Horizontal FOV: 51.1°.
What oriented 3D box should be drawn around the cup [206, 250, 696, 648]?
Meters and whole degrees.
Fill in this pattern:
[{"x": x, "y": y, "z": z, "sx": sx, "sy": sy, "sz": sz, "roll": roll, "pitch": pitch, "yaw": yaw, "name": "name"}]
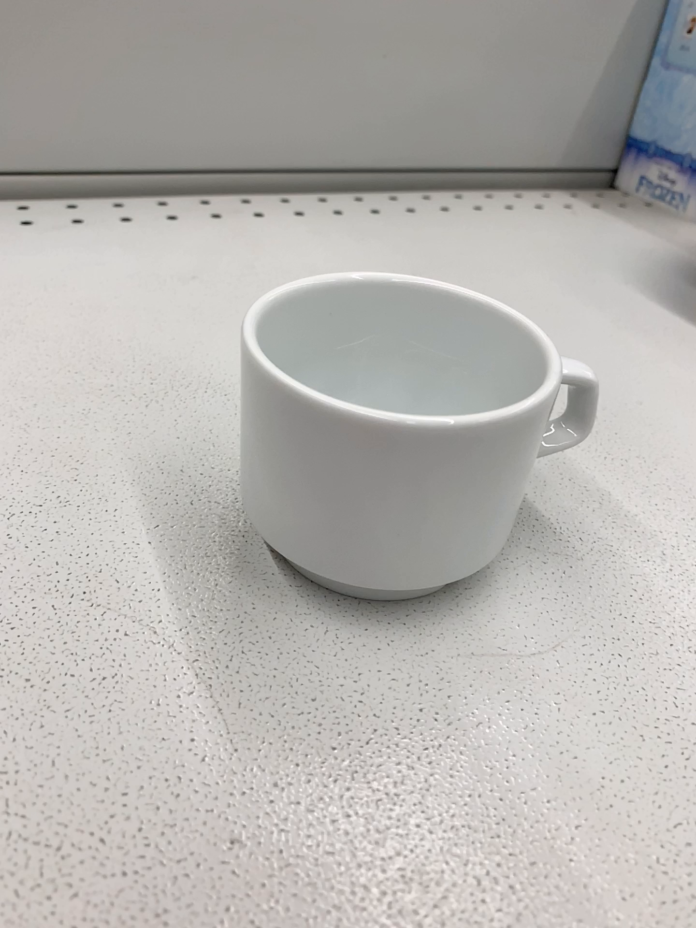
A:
[{"x": 0.024, "y": -0.013, "z": 0.193, "sx": 0.105, "sy": 0.056, "sz": 0.082, "roll": -8, "pitch": 38, "yaw": -20, "name": "cup"}]
